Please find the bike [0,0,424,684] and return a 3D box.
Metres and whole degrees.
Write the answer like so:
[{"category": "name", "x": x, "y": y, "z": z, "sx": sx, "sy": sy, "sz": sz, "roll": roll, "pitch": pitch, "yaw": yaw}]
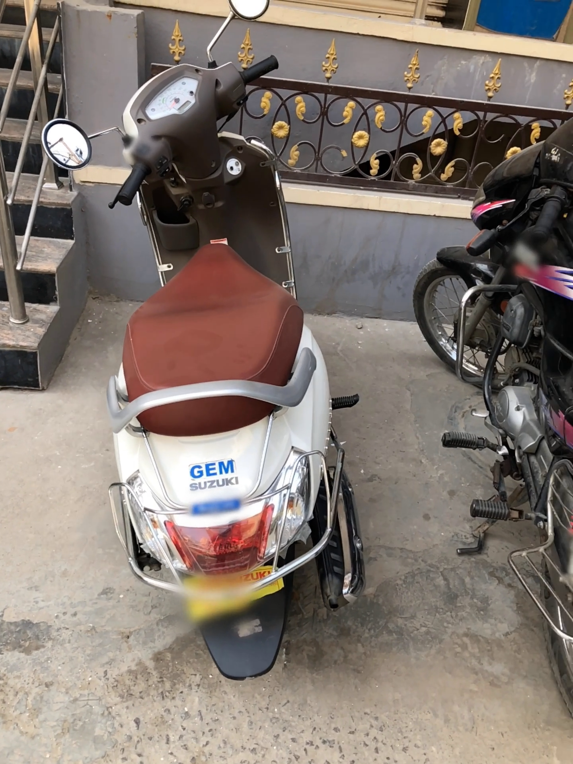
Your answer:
[{"category": "bike", "x": -0.286, "y": -0.271, "z": 1.744, "sx": 0.597, "sy": 1.194, "sz": 1.494, "roll": 0, "pitch": 36, "yaw": -12}]
